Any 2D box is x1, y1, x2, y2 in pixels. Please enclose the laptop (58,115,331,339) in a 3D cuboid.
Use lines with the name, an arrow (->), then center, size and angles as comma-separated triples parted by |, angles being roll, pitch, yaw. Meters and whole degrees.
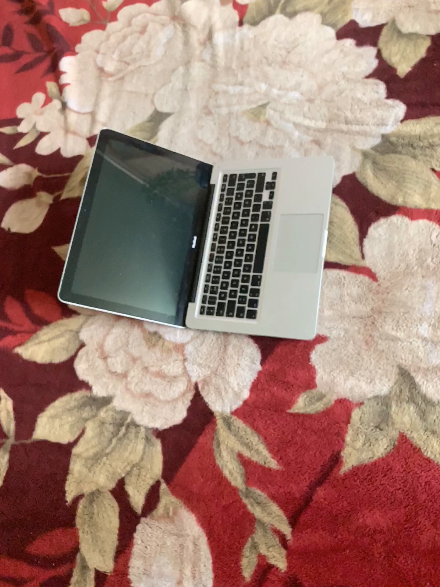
laptop -> -0.033, -0.110, 0.751 | 0.388, 0.116, 0.317 | 4, 76, 18
